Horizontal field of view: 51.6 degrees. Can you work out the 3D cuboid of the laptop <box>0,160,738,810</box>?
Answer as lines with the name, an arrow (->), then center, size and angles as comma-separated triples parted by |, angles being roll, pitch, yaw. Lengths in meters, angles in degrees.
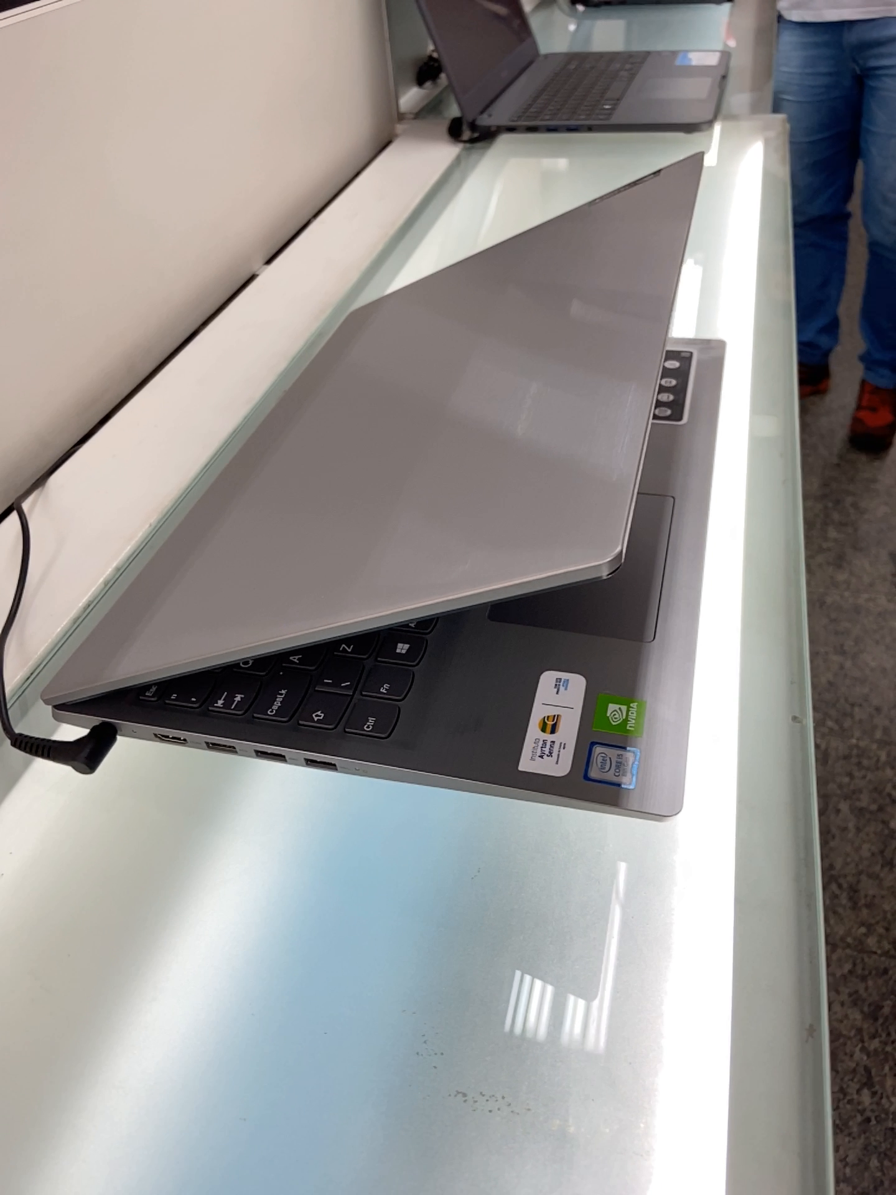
laptop -> -0.001, -0.096, 0.433 | 0.239, 0.104, 0.355 | 7, 42, 14
